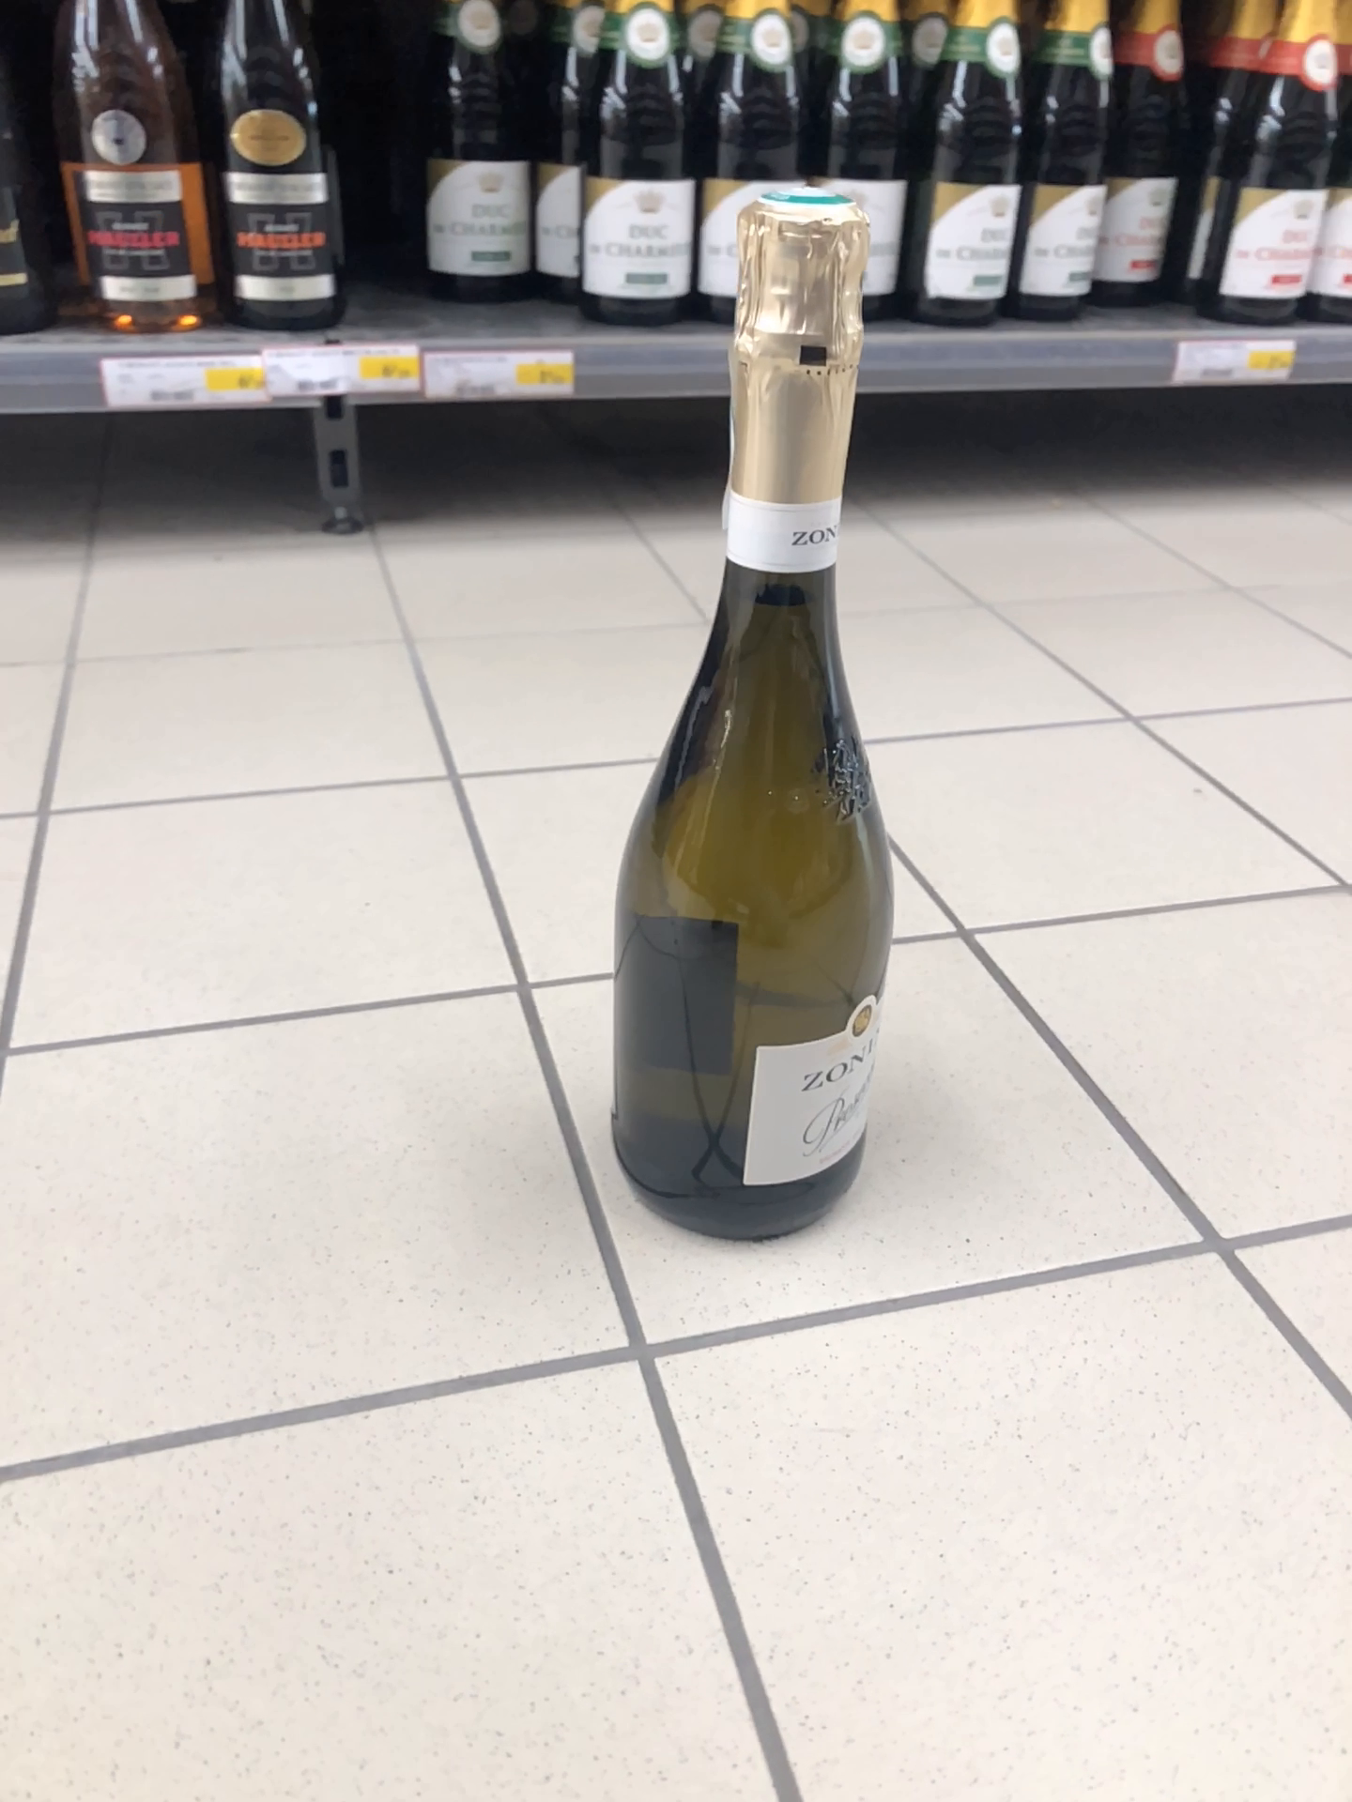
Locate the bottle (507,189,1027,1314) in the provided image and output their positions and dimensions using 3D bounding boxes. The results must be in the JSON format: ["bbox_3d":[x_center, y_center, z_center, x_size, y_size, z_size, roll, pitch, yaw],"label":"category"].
[{"bbox_3d":[0.019,-0.039,0.449,0.090,0.308,0.101,22,35,31],"label":"bottle"}]
